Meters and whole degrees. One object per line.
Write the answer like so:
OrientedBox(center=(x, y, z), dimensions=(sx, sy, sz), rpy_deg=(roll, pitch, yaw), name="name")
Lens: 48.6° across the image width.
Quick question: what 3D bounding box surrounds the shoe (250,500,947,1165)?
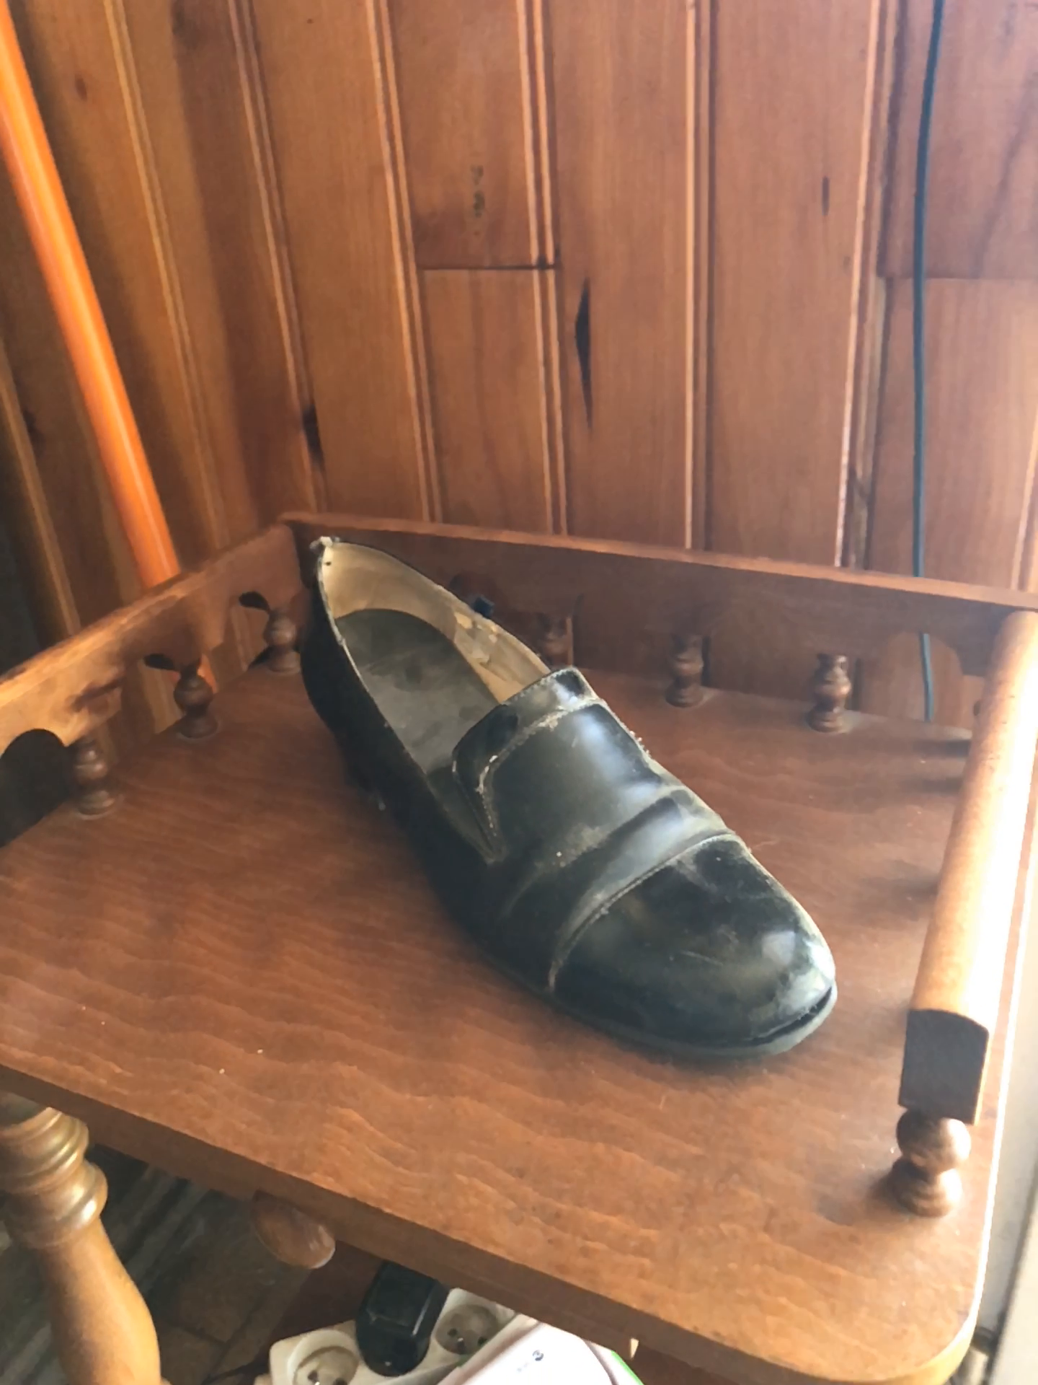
OrientedBox(center=(0.006, 0.020, 0.403), dimensions=(0.100, 0.090, 0.261), rpy_deg=(-19, 32, -26), name="shoe")
